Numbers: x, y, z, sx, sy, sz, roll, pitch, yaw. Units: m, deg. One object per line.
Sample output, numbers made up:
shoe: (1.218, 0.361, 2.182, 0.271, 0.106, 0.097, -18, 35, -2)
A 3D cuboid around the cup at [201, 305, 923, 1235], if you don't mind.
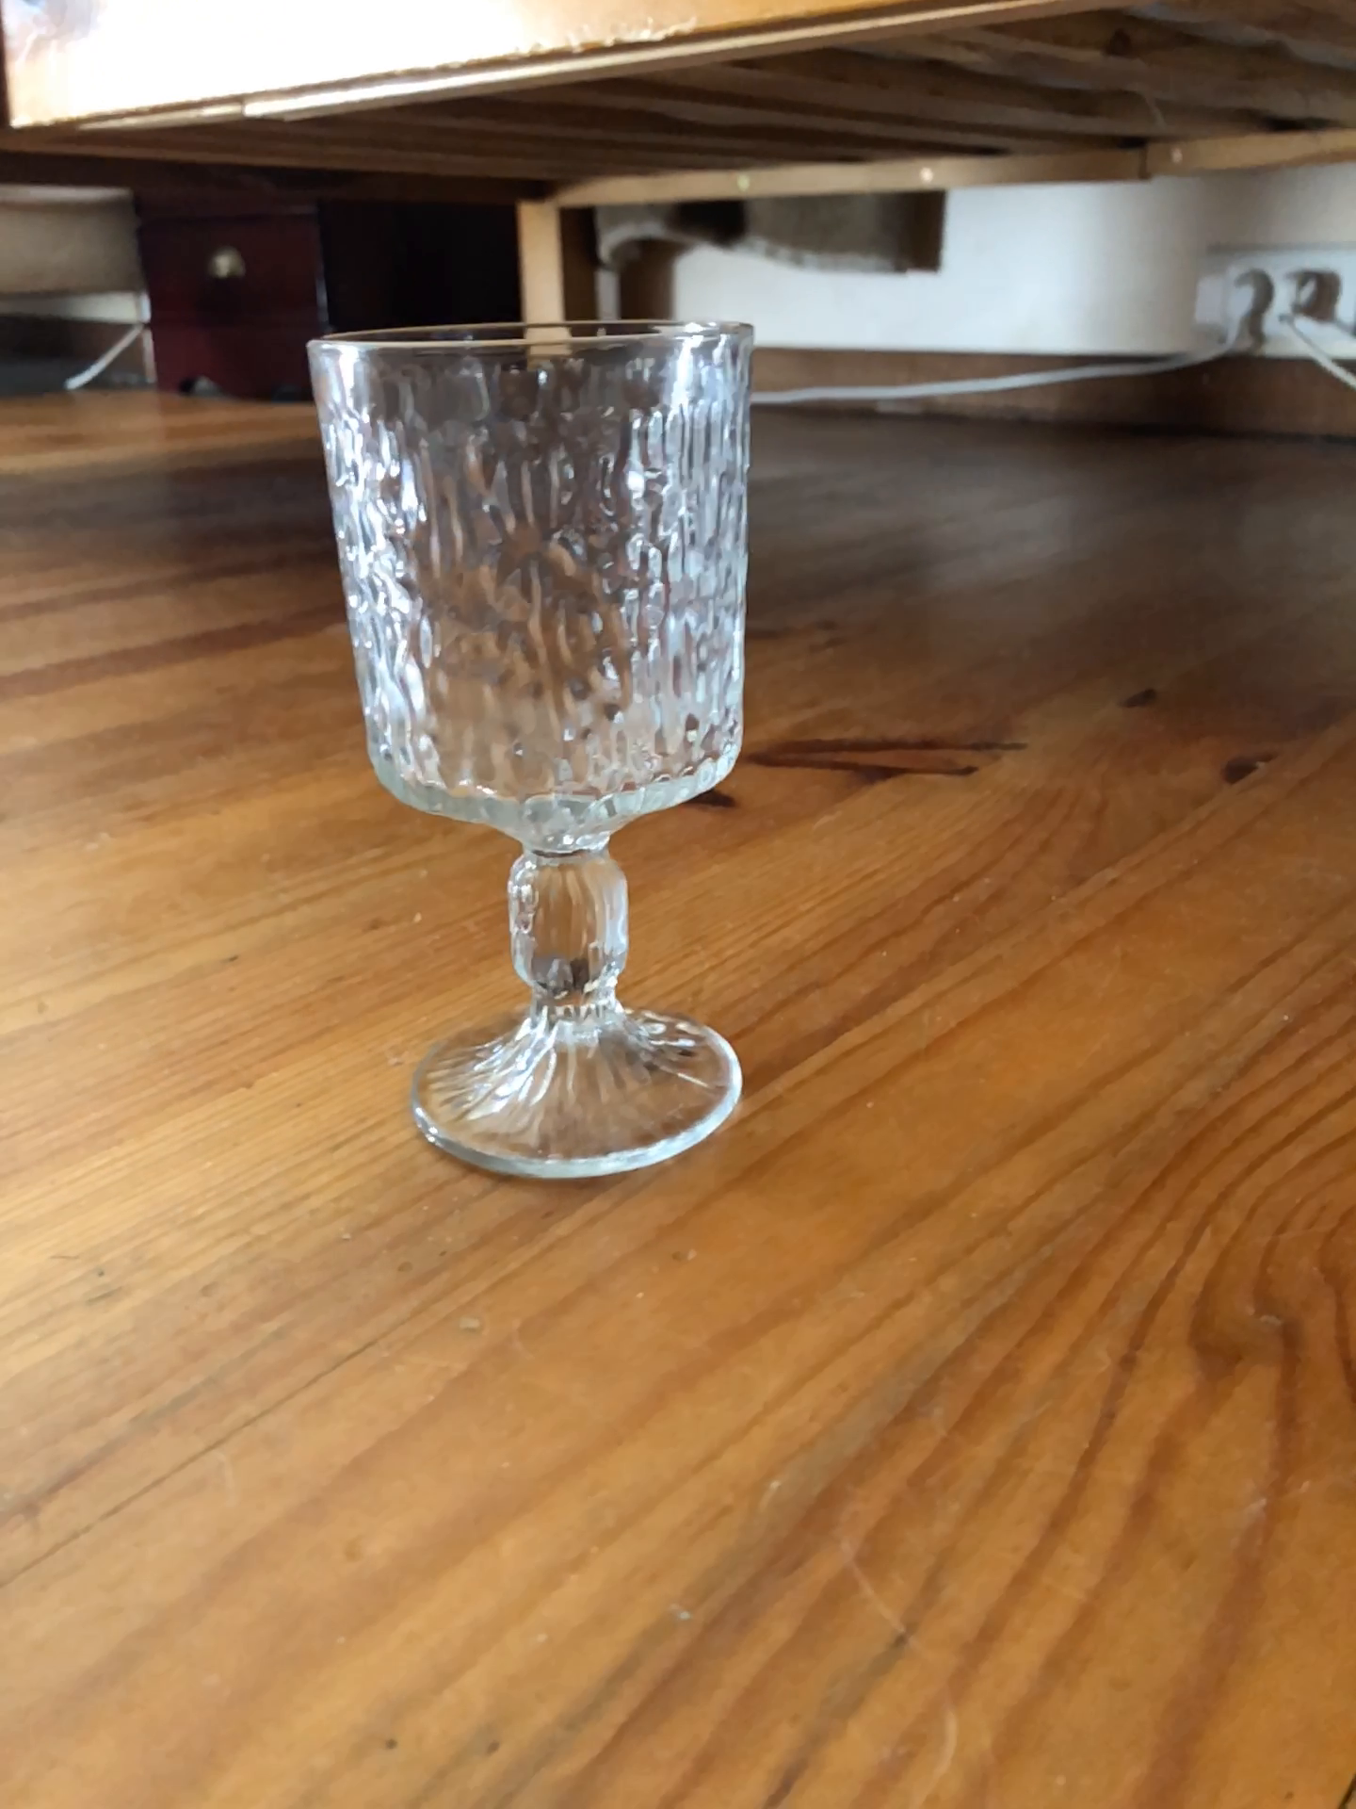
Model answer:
cup: (-0.016, -0.032, 0.264, 0.081, 0.134, 0.081, -1, 22, 0)
